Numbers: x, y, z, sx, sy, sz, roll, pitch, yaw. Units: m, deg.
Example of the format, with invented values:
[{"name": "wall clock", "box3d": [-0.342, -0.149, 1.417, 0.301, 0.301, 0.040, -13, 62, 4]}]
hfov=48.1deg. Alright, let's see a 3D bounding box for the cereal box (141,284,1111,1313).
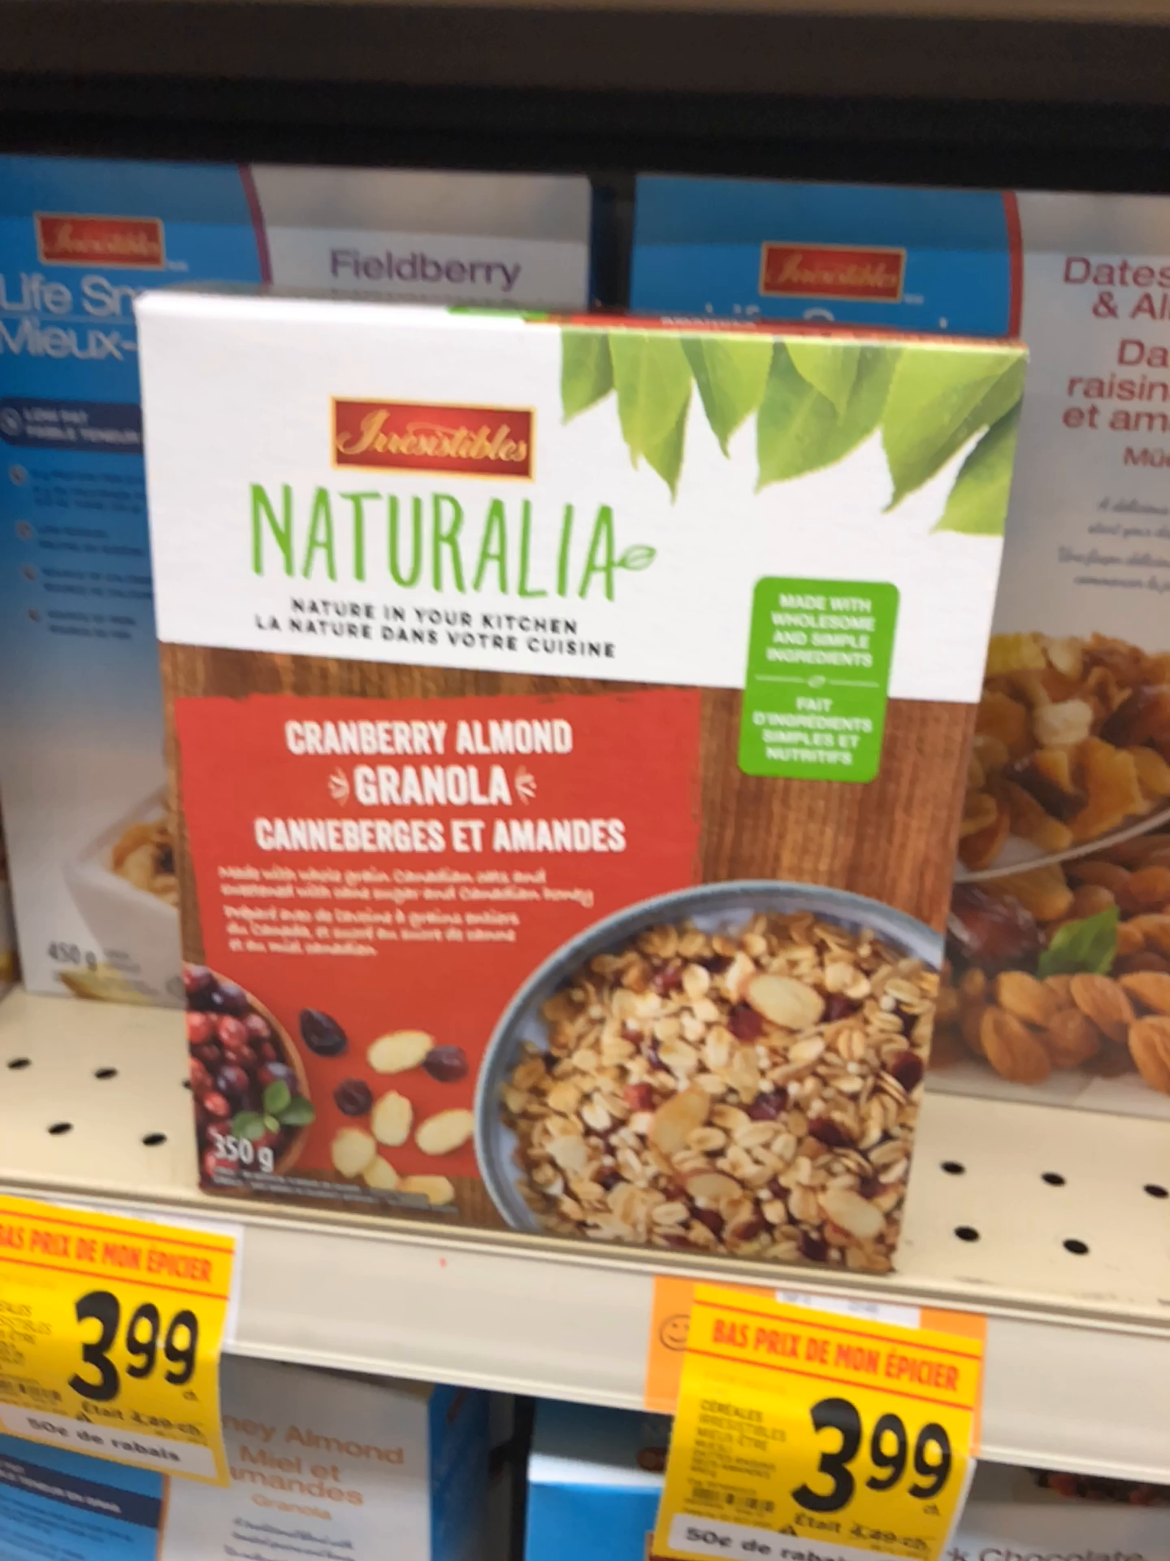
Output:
[{"name": "cereal box", "box3d": [0.004, 0.005, 0.294, 0.170, 0.209, 0.060, 5, 22, 6]}]
